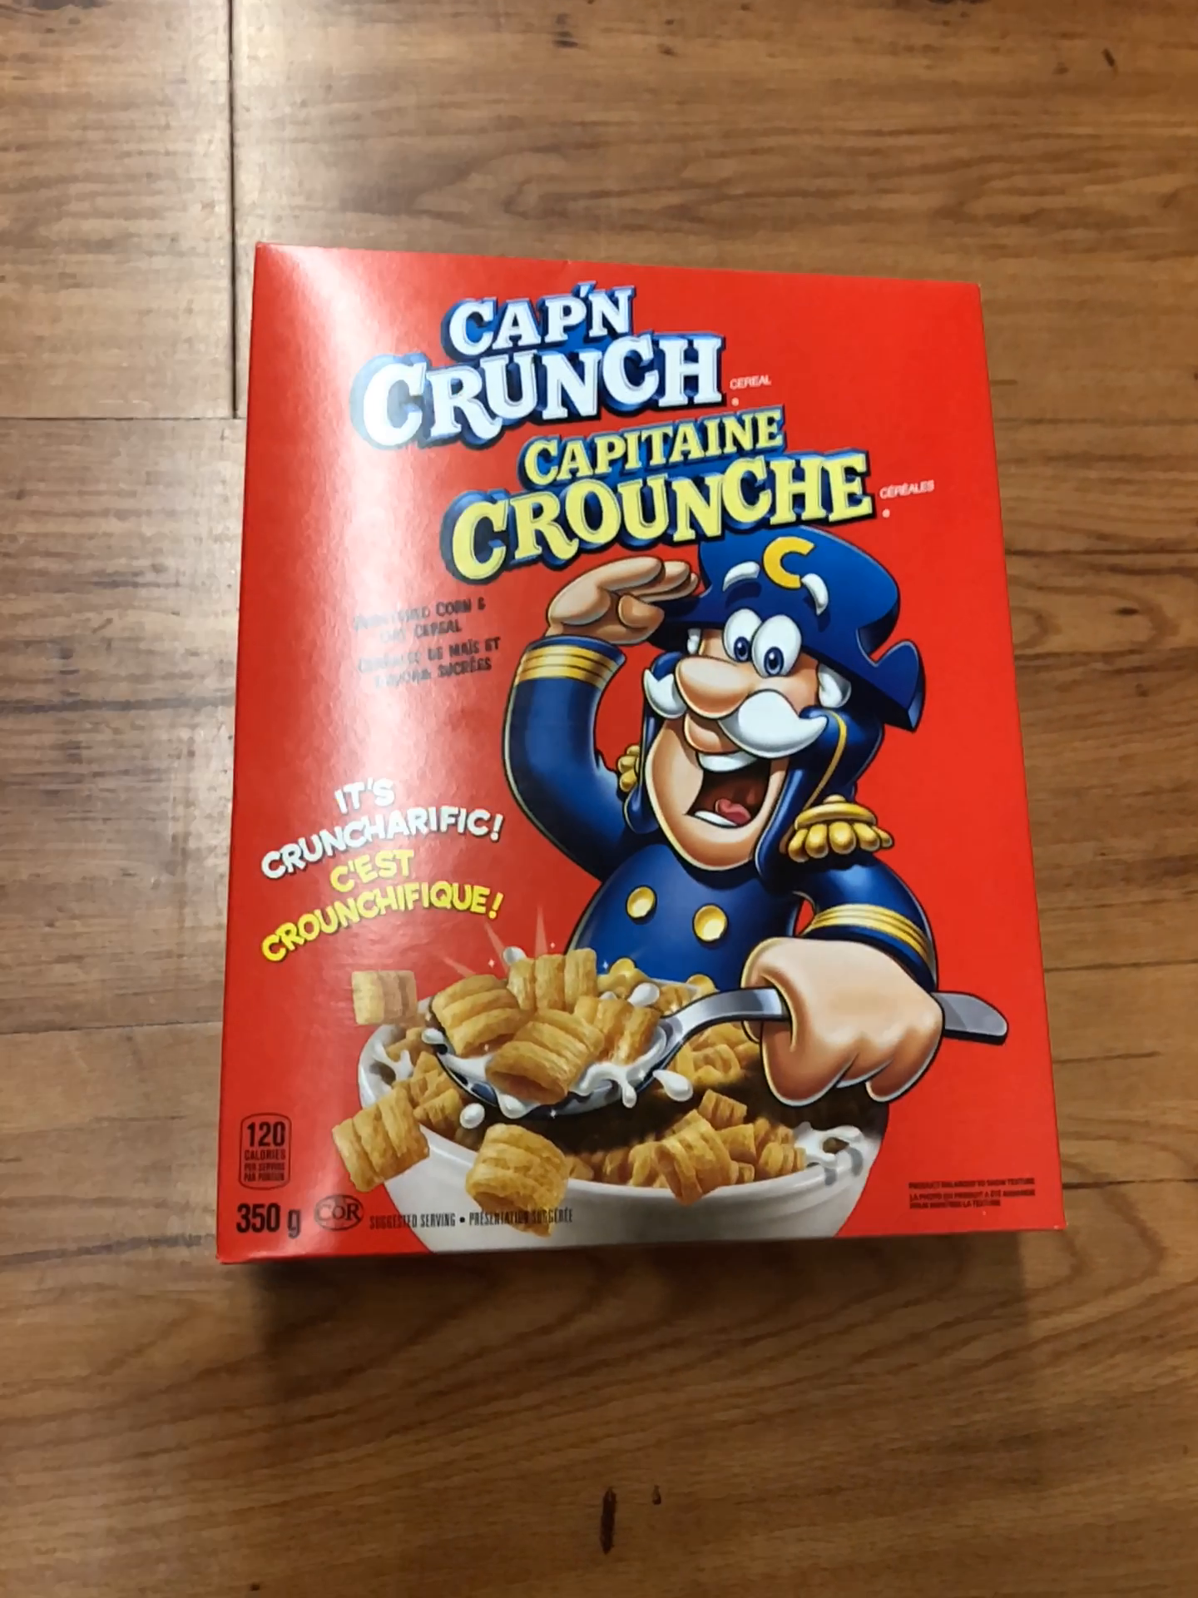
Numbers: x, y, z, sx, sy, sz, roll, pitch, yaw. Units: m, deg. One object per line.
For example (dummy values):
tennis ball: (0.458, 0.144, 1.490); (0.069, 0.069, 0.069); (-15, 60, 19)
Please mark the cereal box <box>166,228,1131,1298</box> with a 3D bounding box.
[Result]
cereal box: (0.010, -0.013, 0.355); (0.220, 0.060, 0.260); (0, 78, -7)
